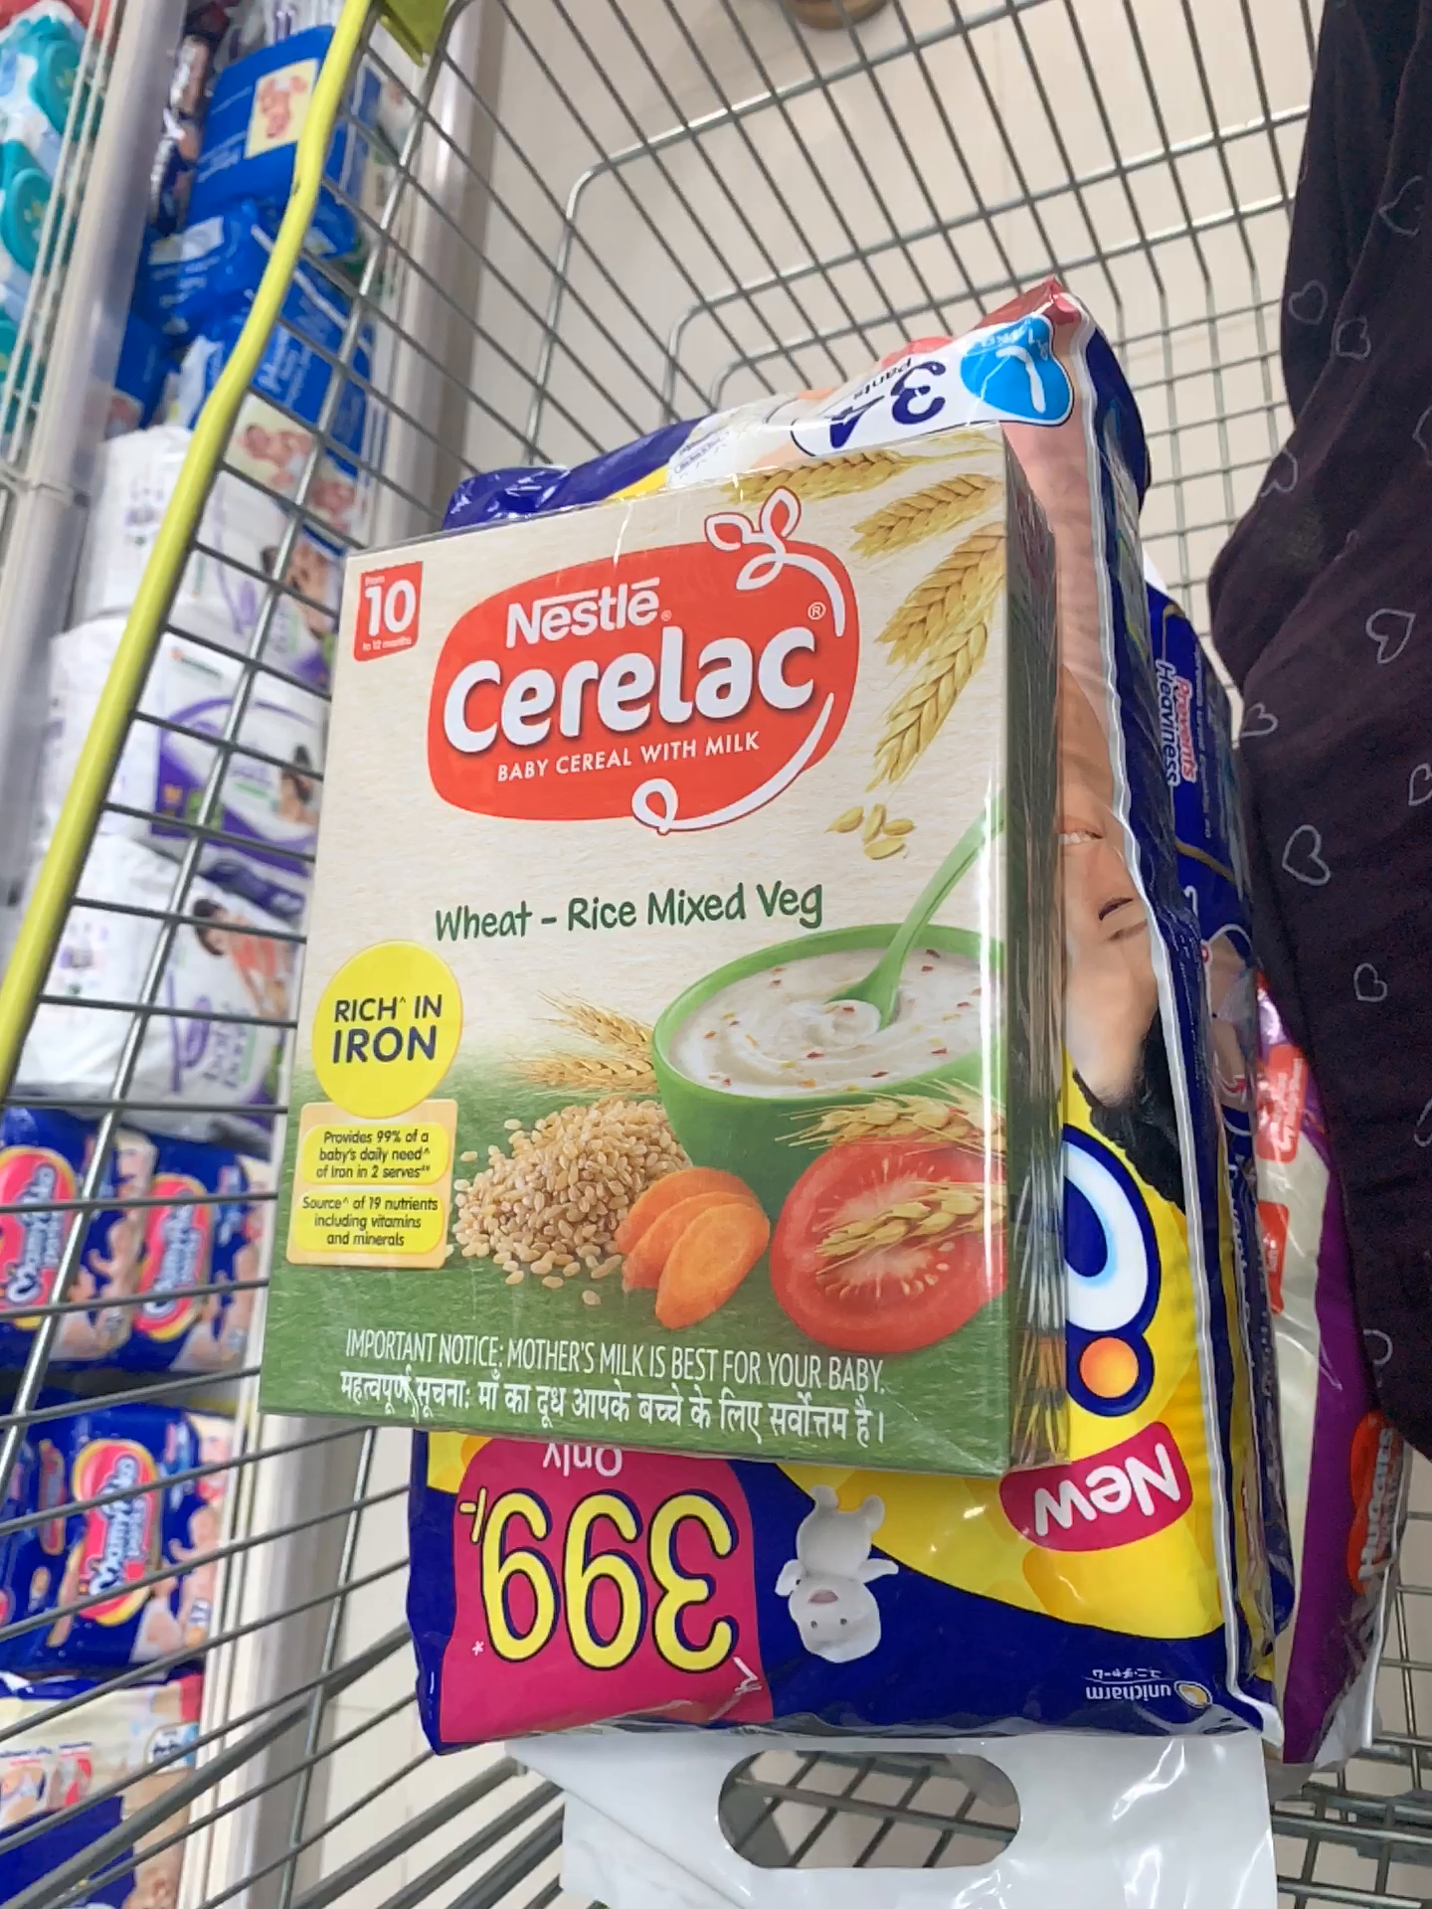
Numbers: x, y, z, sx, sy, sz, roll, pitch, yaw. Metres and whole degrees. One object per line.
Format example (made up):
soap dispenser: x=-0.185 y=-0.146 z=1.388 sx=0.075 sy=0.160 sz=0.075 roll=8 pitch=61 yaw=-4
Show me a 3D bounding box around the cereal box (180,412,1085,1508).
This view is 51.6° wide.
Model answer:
cereal box: x=-0.015 y=0.004 z=0.291 sx=0.161 sy=0.050 sz=0.180 roll=-4 pitch=75 yaw=25
